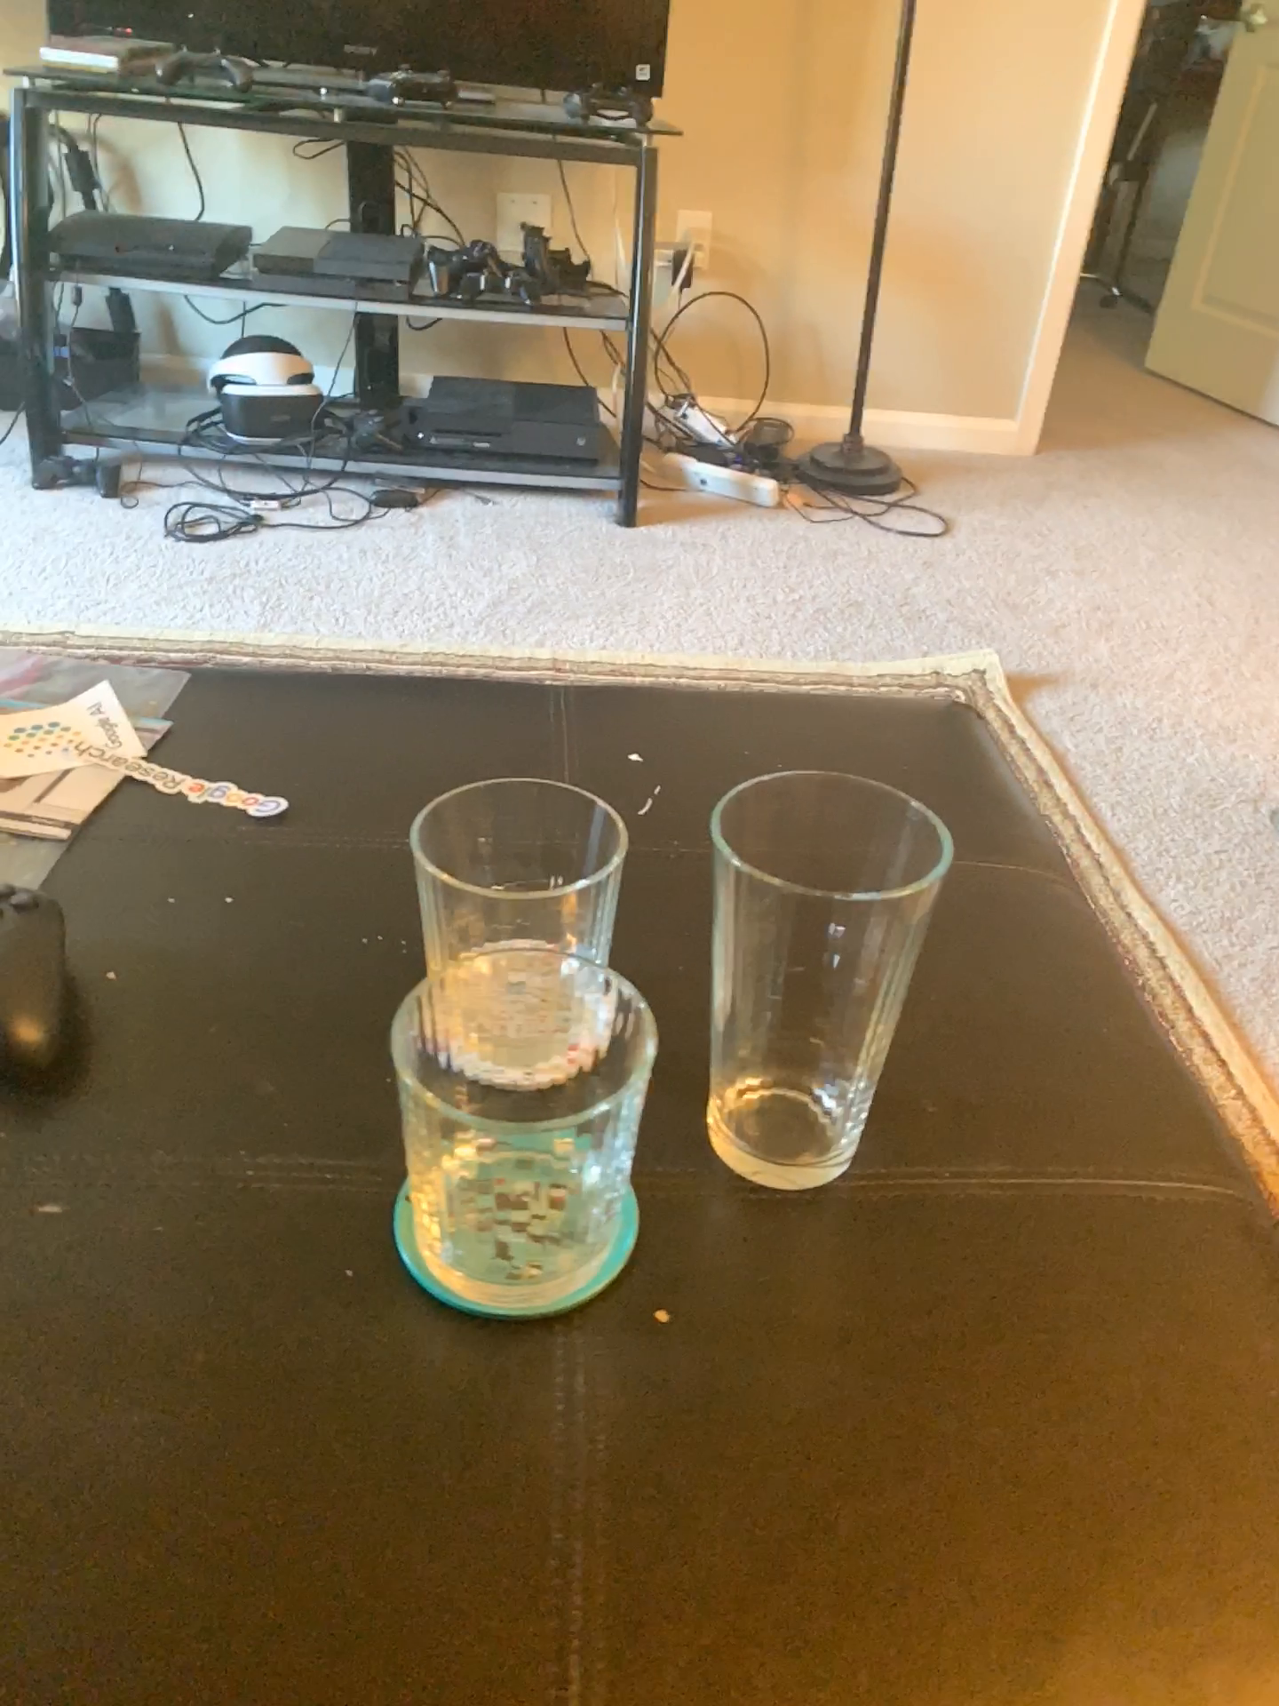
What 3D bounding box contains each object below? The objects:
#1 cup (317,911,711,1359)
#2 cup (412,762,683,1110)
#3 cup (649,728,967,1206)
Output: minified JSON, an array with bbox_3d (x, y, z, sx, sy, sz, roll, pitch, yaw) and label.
[{"bbox_3d":[-0.042,0.094,0.457,0.100,0.089,0.090,16,35,16],"label":"cup"},{"bbox_3d":[-0.042,0.035,0.588,0.090,0.109,0.080,16,35,16],"label":"cup"},{"bbox_3d":[0.063,0.042,0.502,0.080,0.139,0.090,16,35,16],"label":"cup"}]
